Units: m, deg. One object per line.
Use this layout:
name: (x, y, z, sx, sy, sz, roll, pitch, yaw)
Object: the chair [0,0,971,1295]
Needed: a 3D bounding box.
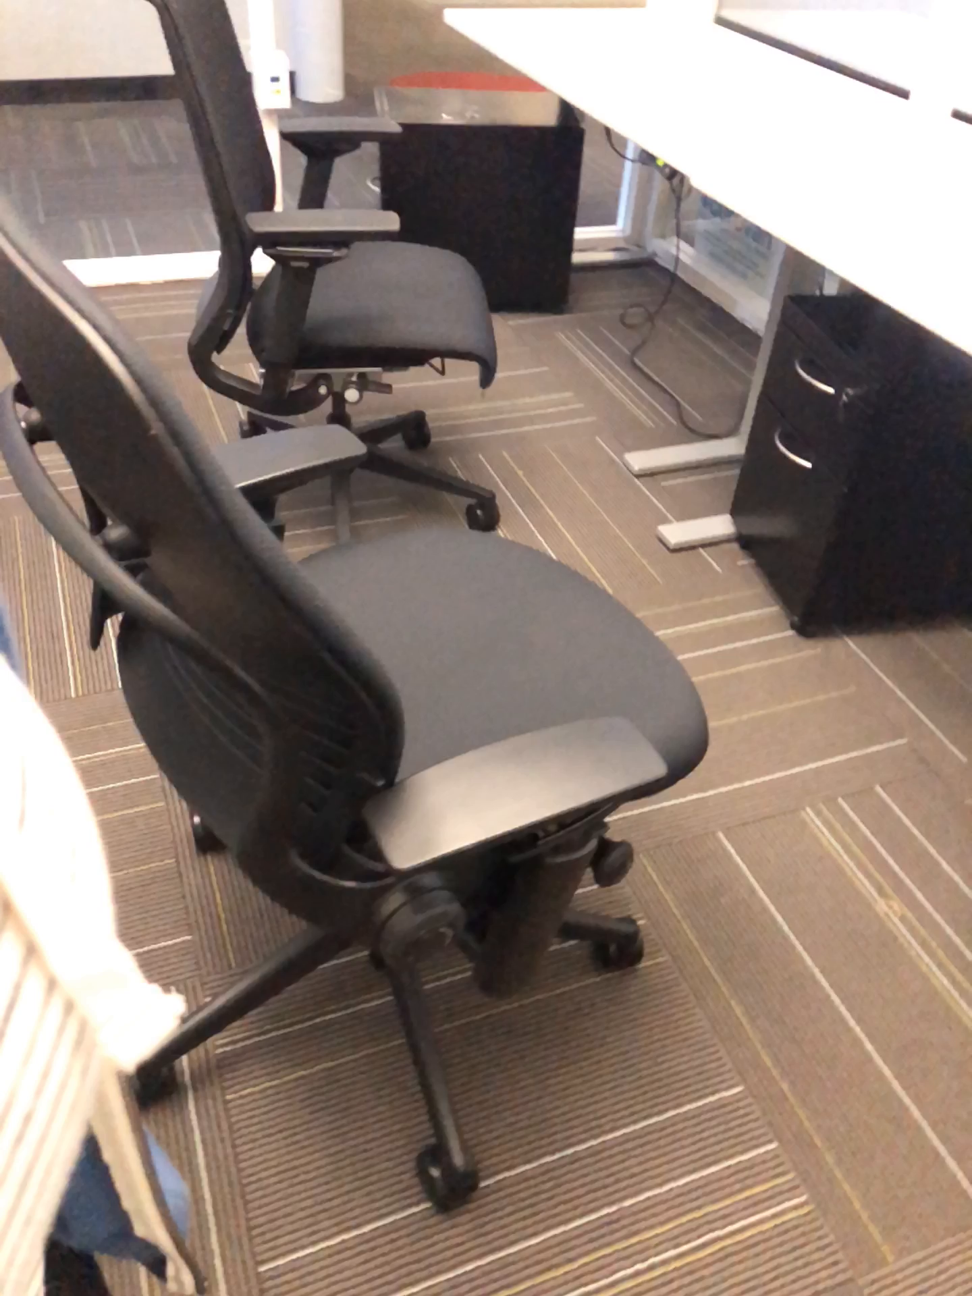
chair: (-0.064, -0.046, 1.133, 0.831, 1.034, 0.733, -20, 45, -27)
